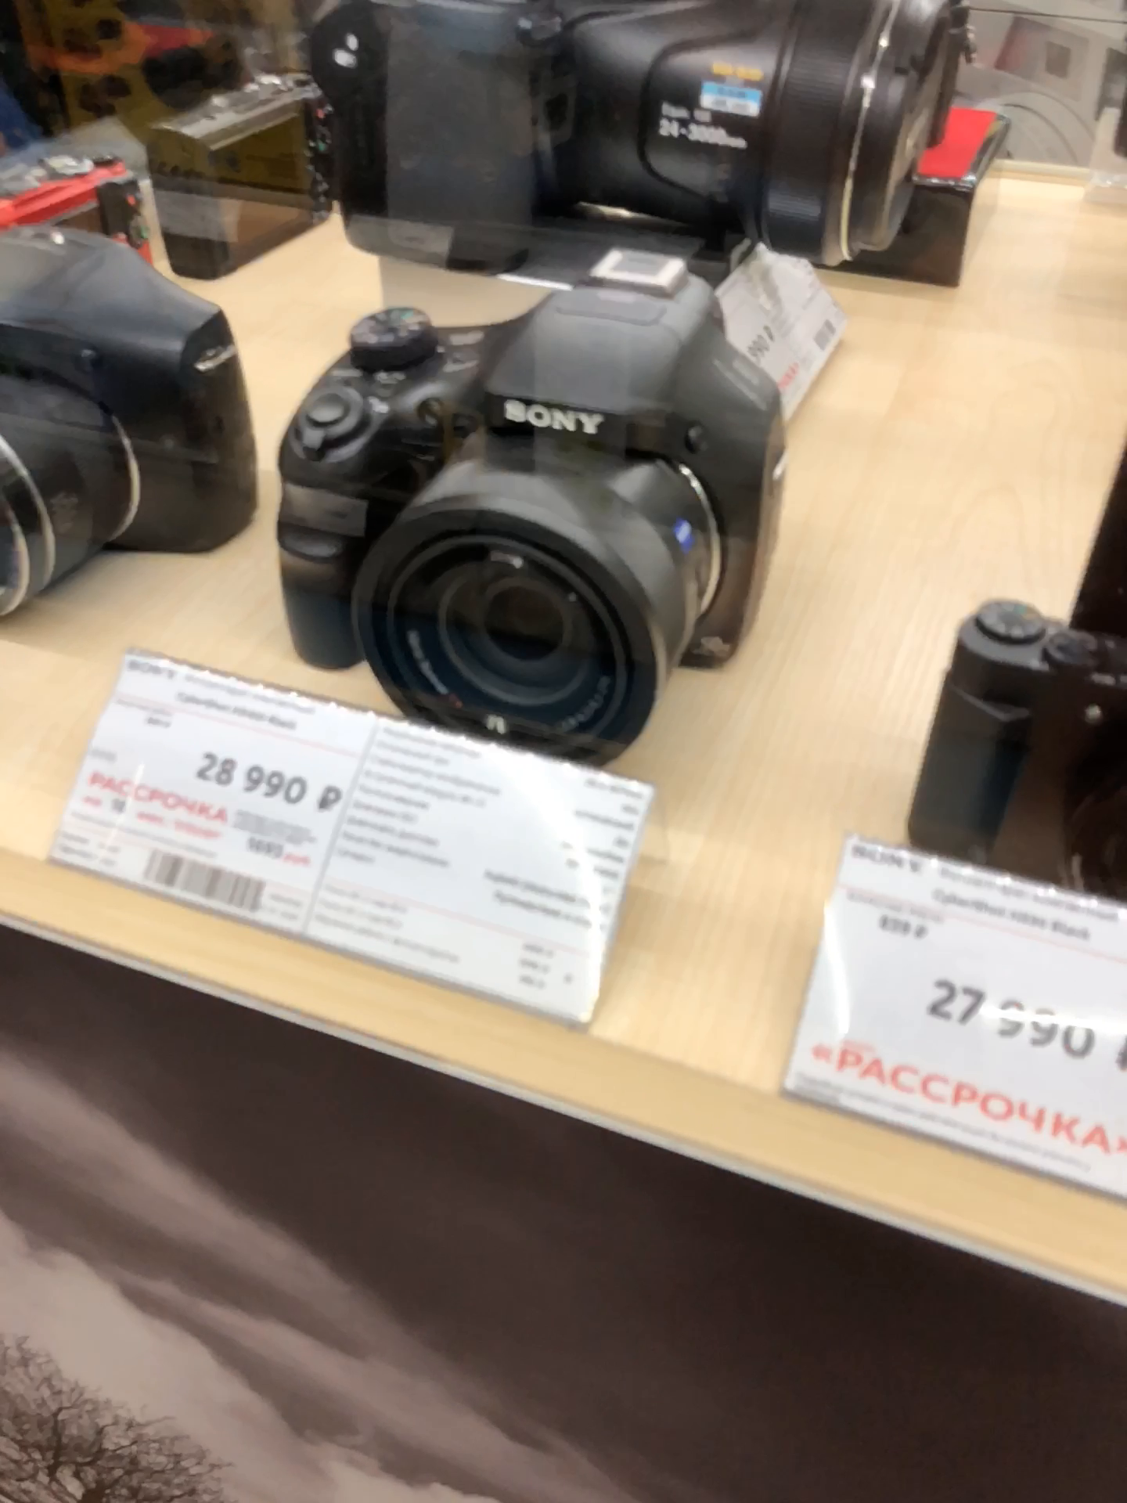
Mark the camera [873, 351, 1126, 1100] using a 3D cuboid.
[{"bbox_3d":[0.138,-0.006,0.245,0.125,0.113,0.056,14,41,15],"label":"camera"}]

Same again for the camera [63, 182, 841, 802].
[{"bbox_3d":[-0.018,-0.069,0.294,0.137,0.086,0.104,14,41,15],"label":"camera"}]

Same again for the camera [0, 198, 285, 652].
[{"bbox_3d":[-0.161,-0.096,0.343,0.122,0.073,0.097,14,41,15],"label":"camera"}]
